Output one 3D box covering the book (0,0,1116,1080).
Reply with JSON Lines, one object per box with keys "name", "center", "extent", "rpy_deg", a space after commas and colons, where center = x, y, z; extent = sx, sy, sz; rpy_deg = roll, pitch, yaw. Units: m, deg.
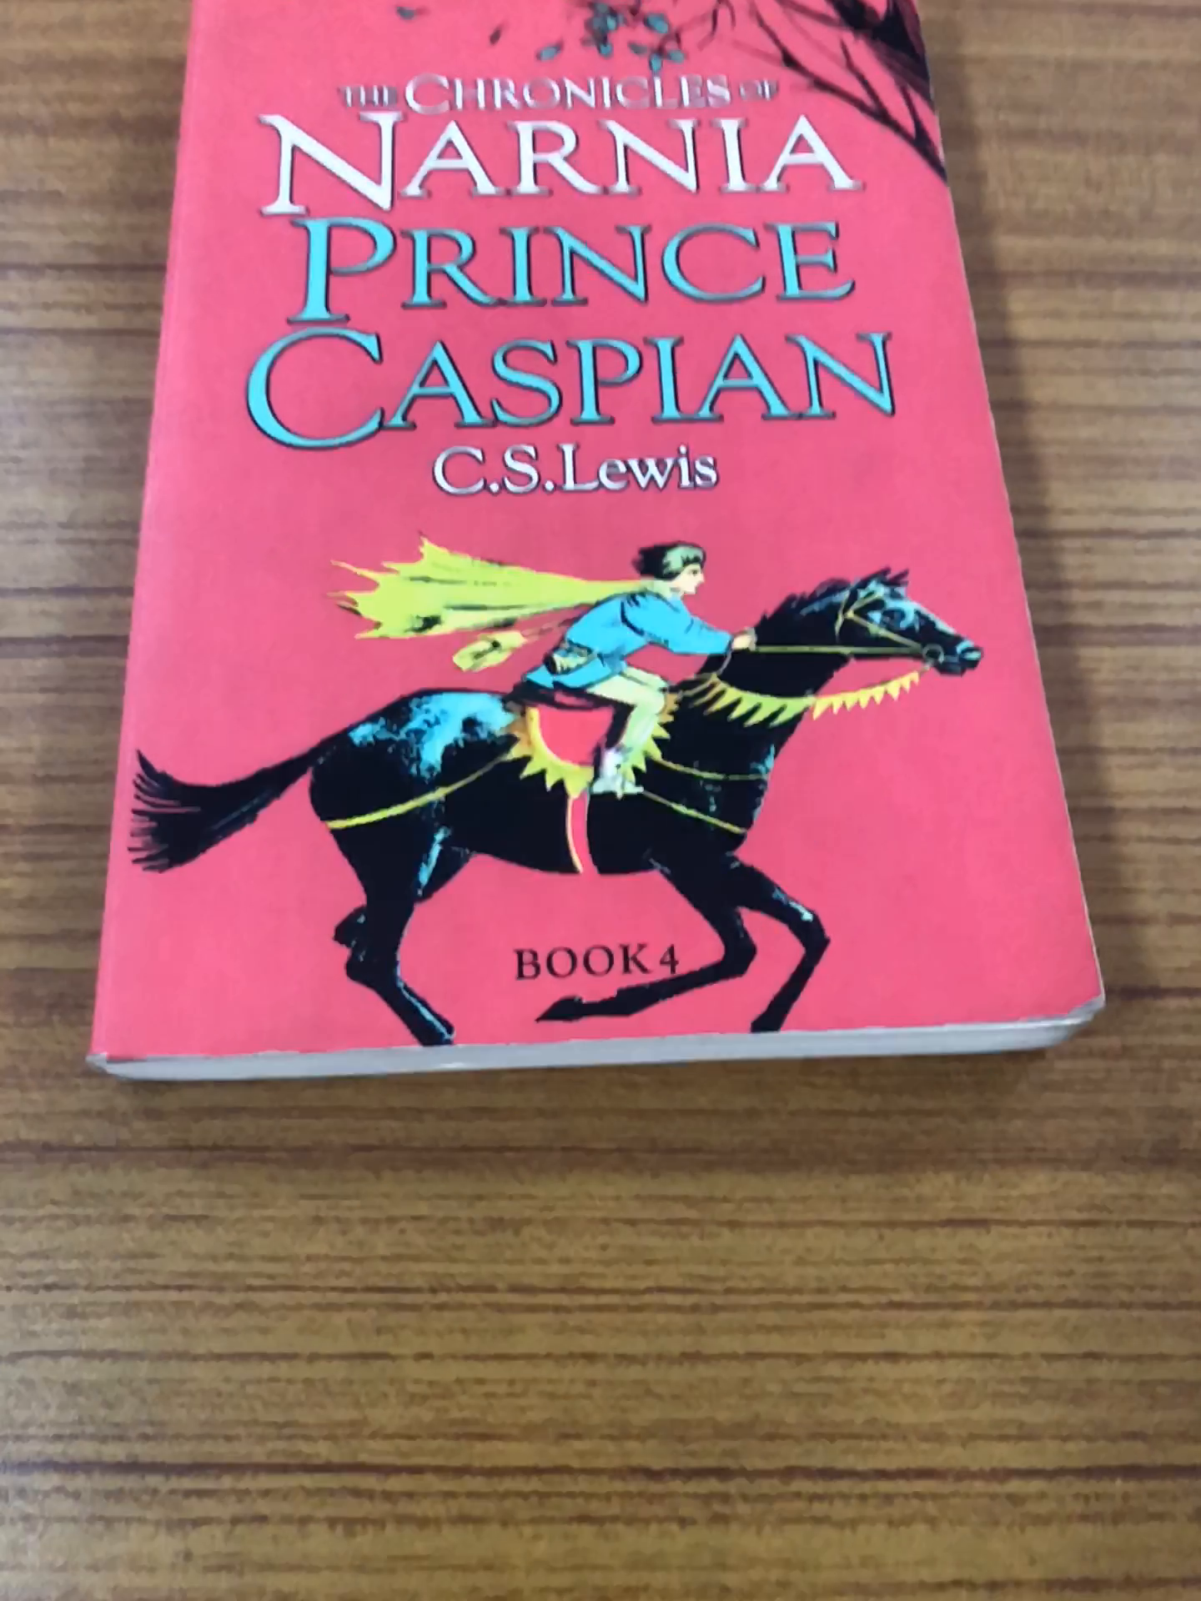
{"name": "book", "center": [-0.008, -0.058, 0.205], "extent": [0.130, 0.030, 0.190], "rpy_deg": [-1, 69, -1]}
